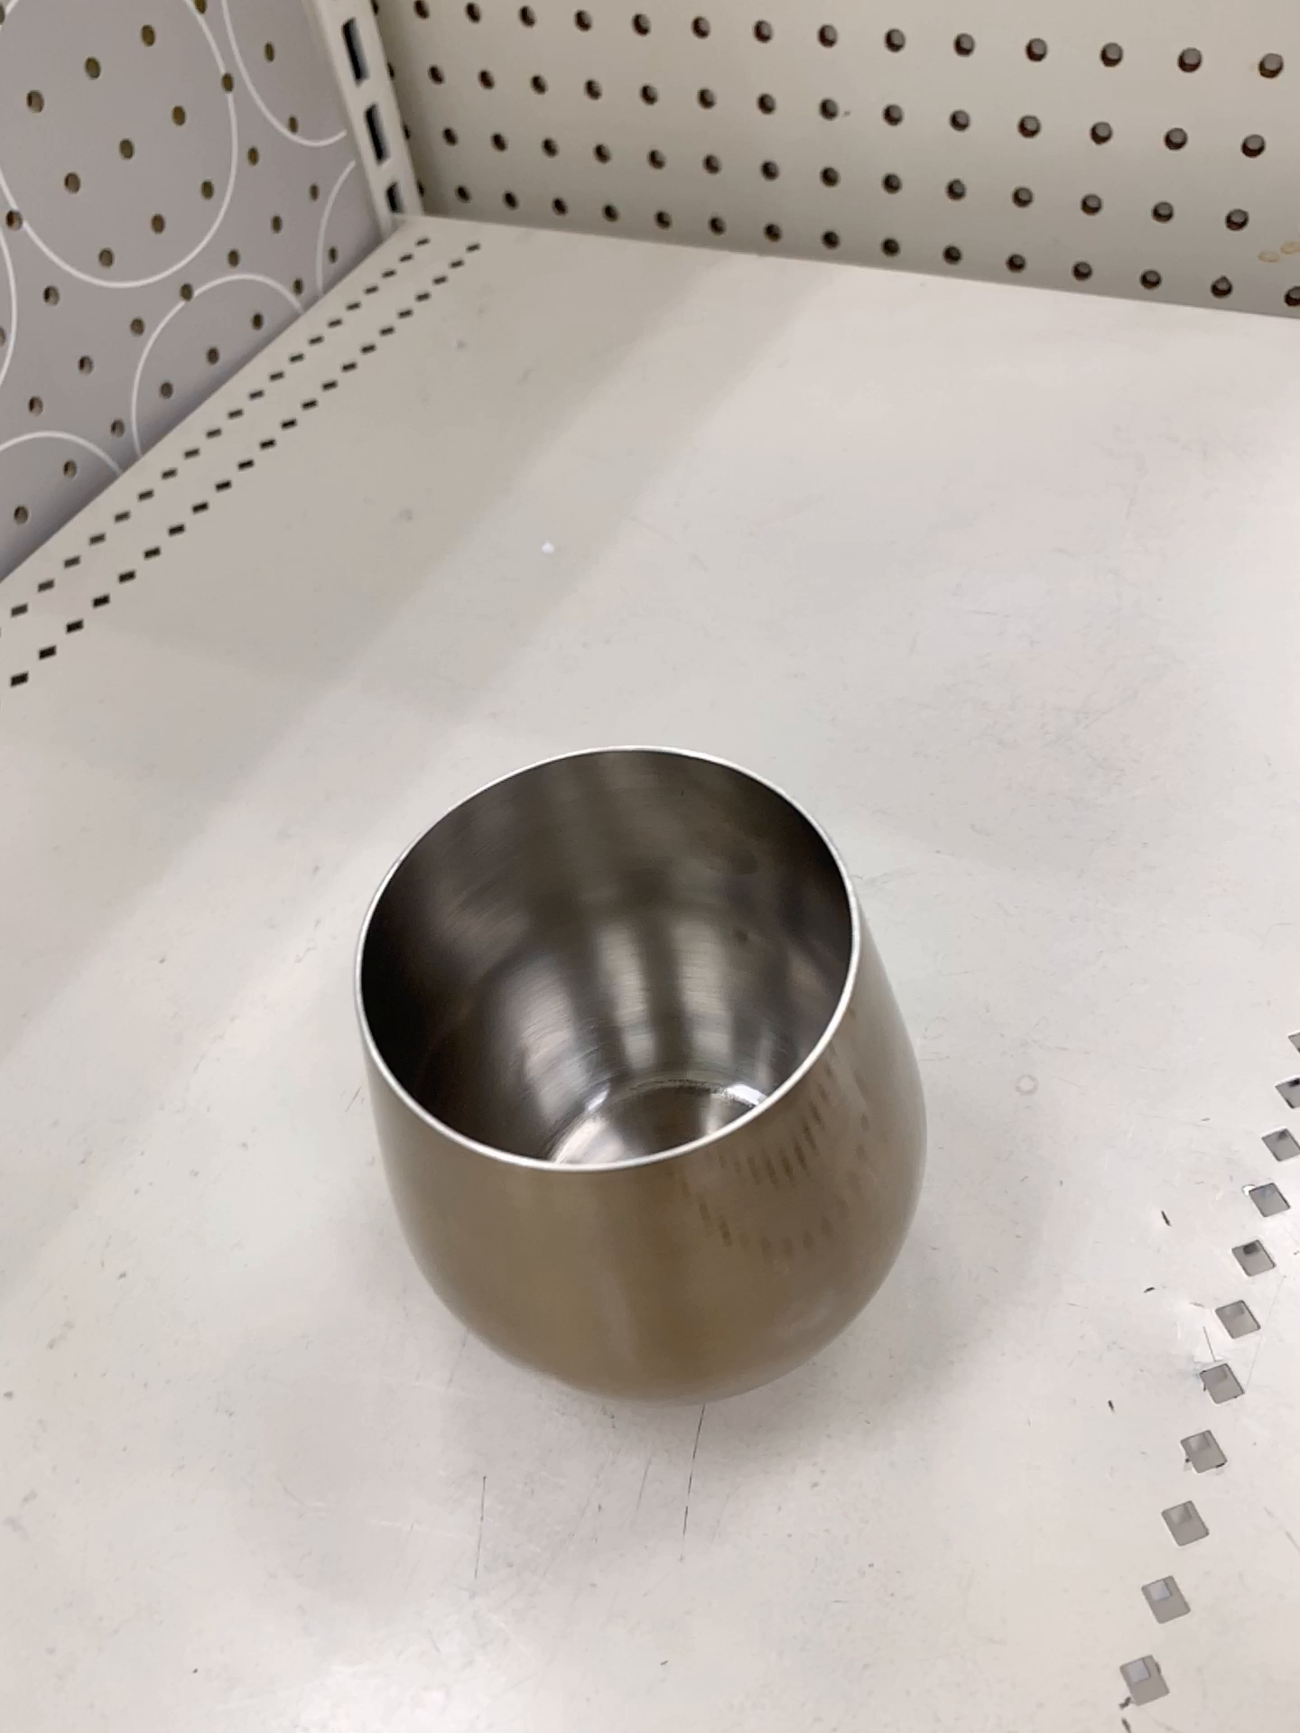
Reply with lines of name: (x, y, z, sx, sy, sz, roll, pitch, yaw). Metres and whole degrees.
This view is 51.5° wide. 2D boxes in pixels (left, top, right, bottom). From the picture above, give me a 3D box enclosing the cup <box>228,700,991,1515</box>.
cup: (0.002, 0.040, 0.227, 0.083, 0.090, 0.082, -4, 52, 6)
